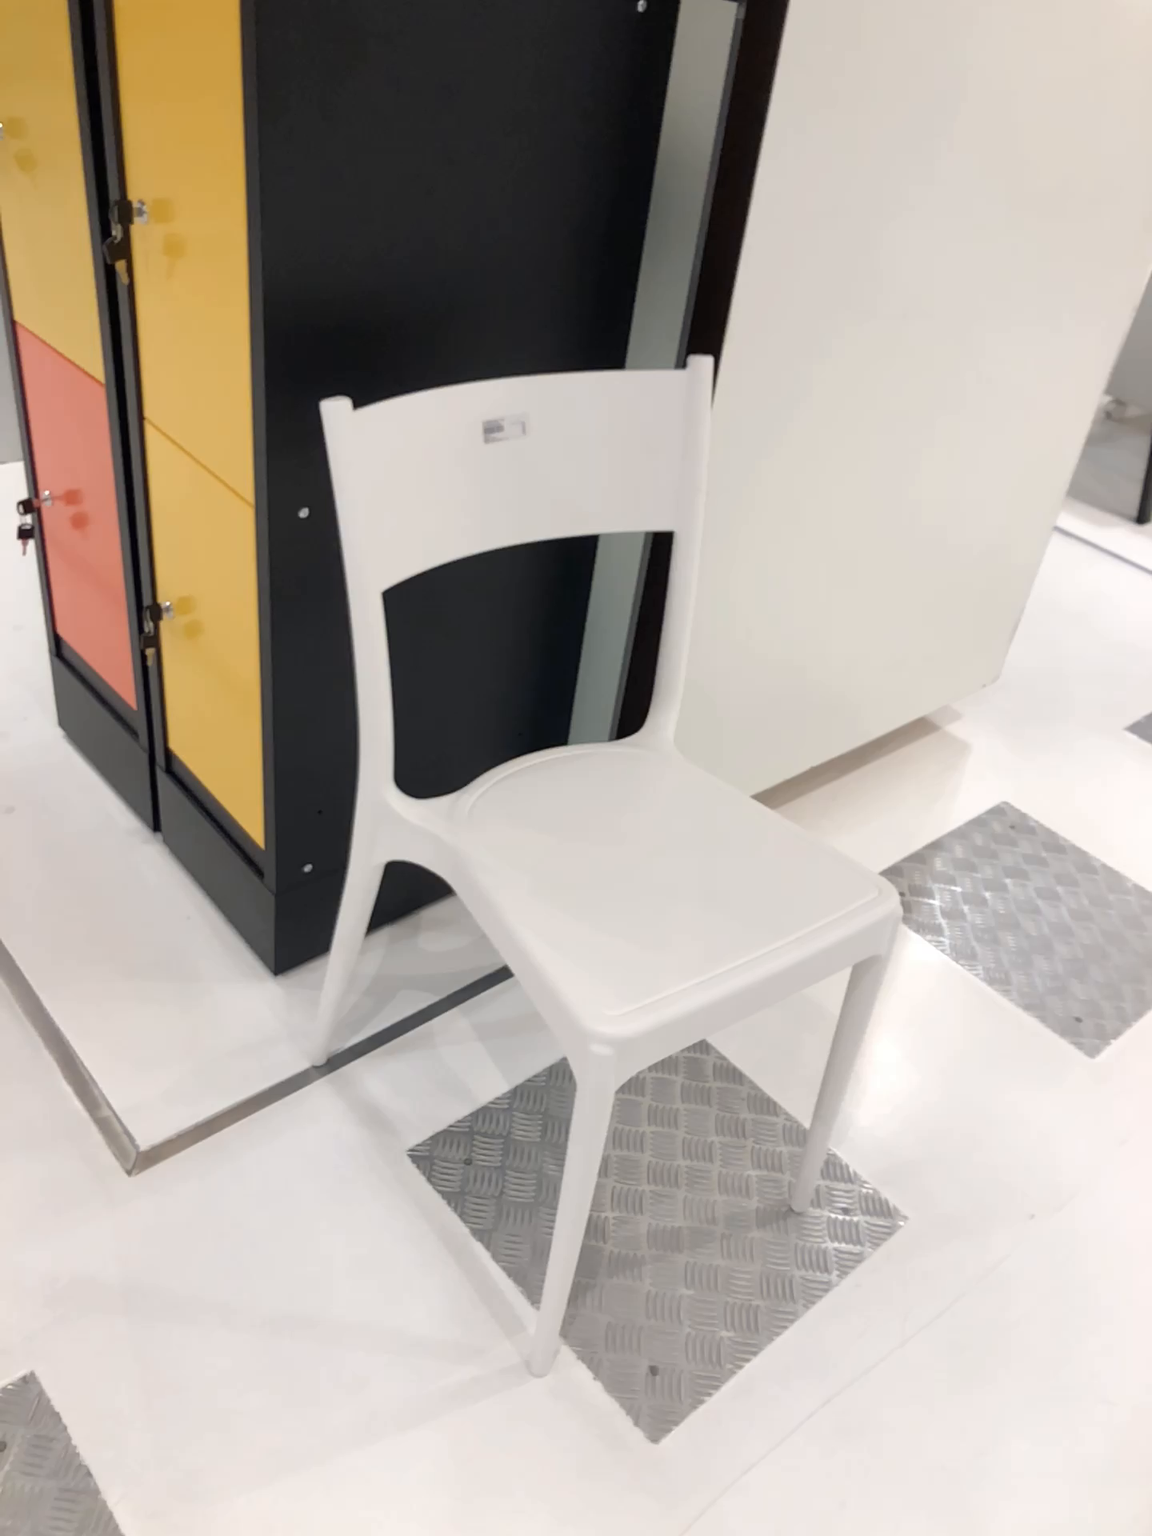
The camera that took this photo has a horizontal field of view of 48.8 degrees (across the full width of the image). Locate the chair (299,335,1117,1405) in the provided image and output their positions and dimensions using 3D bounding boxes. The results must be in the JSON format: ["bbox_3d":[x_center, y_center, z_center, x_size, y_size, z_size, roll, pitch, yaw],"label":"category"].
[{"bbox_3d":[0.042,0.077,1.178,0.412,0.764,0.482,-18,43,-33],"label":"chair"}]
